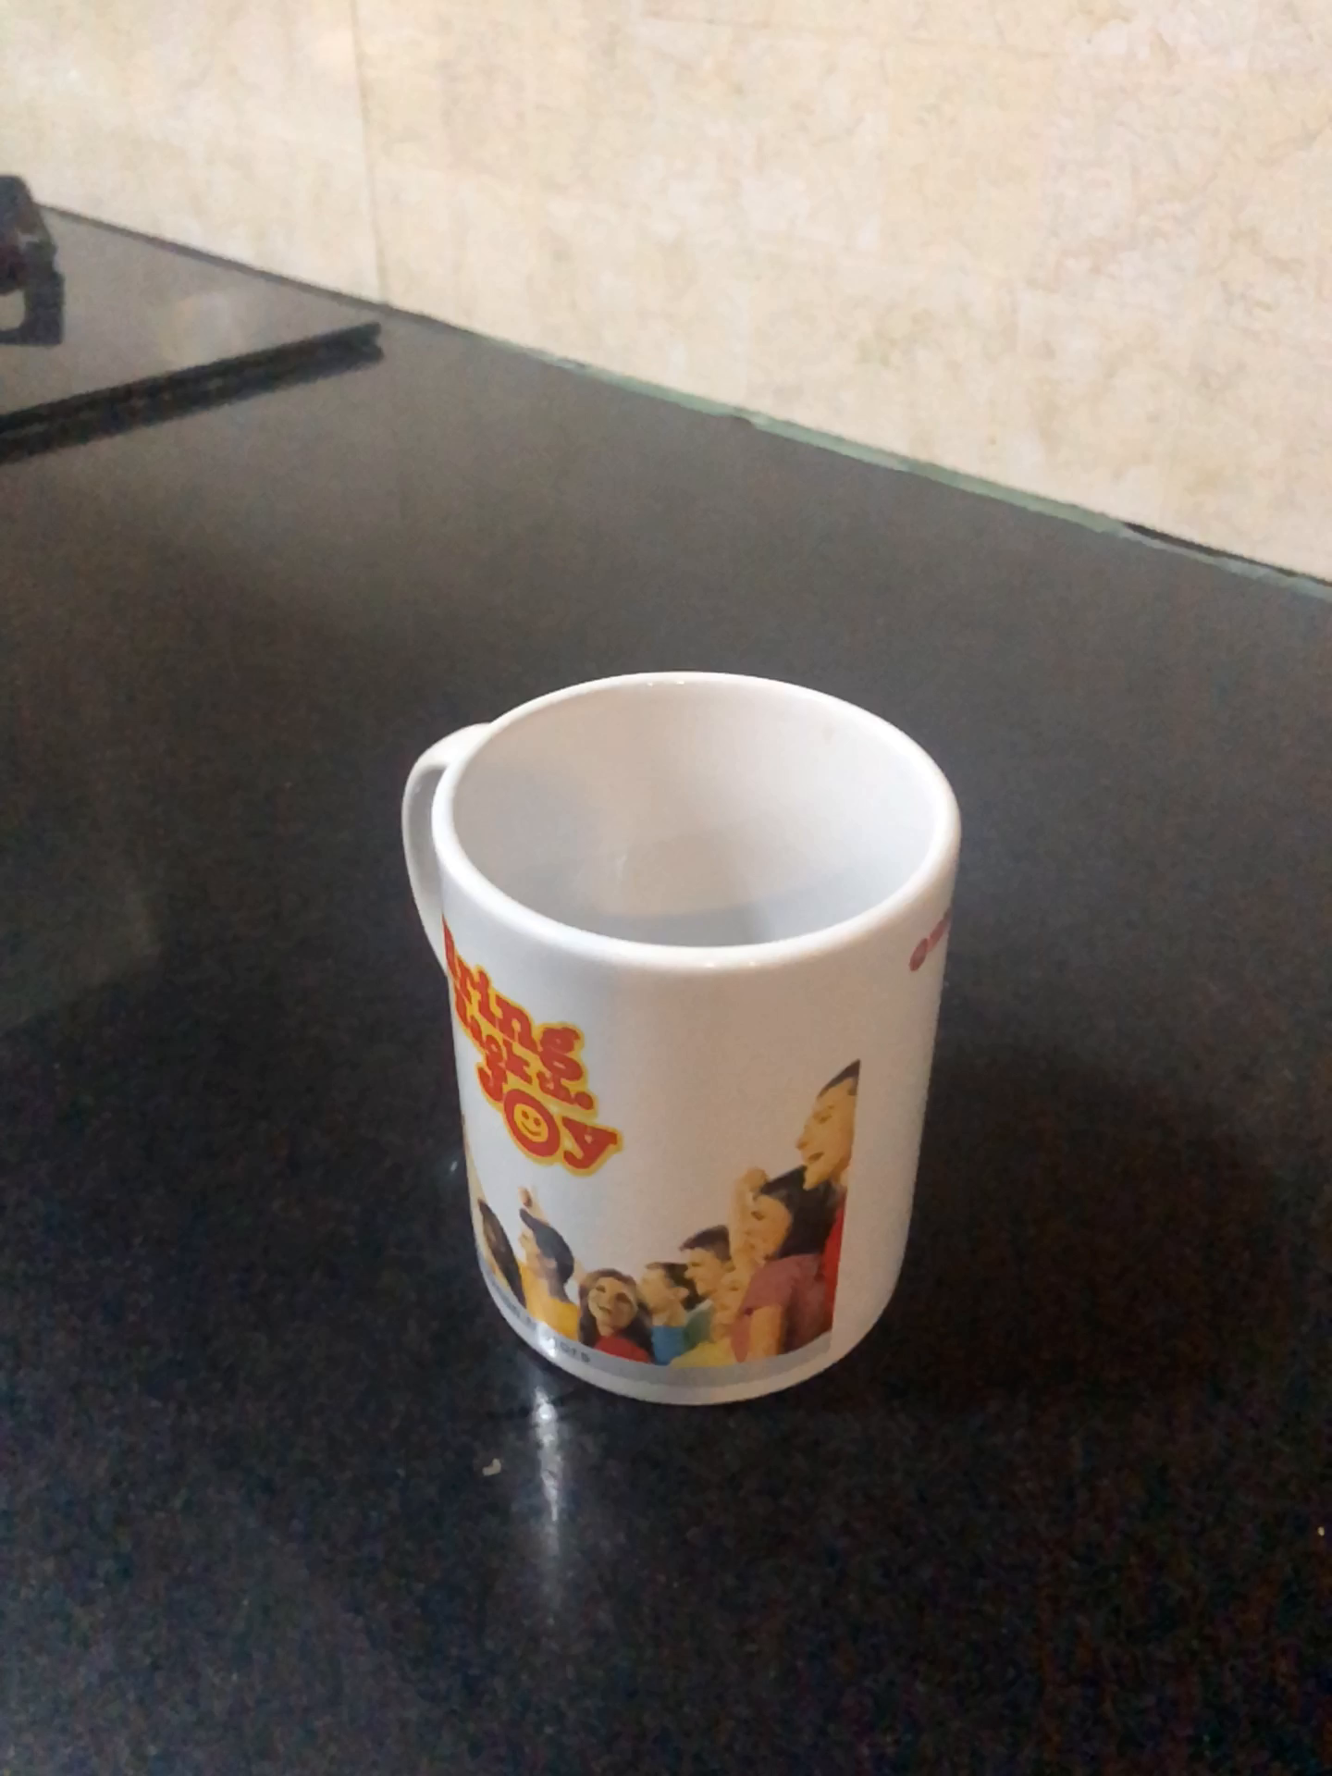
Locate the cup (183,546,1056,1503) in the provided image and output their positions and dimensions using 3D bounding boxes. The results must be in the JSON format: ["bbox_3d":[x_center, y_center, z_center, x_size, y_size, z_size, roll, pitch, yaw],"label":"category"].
[{"bbox_3d":[-0.012,0.014,0.264,0.080,0.099,0.120,-27,43,-33],"label":"cup"}]
